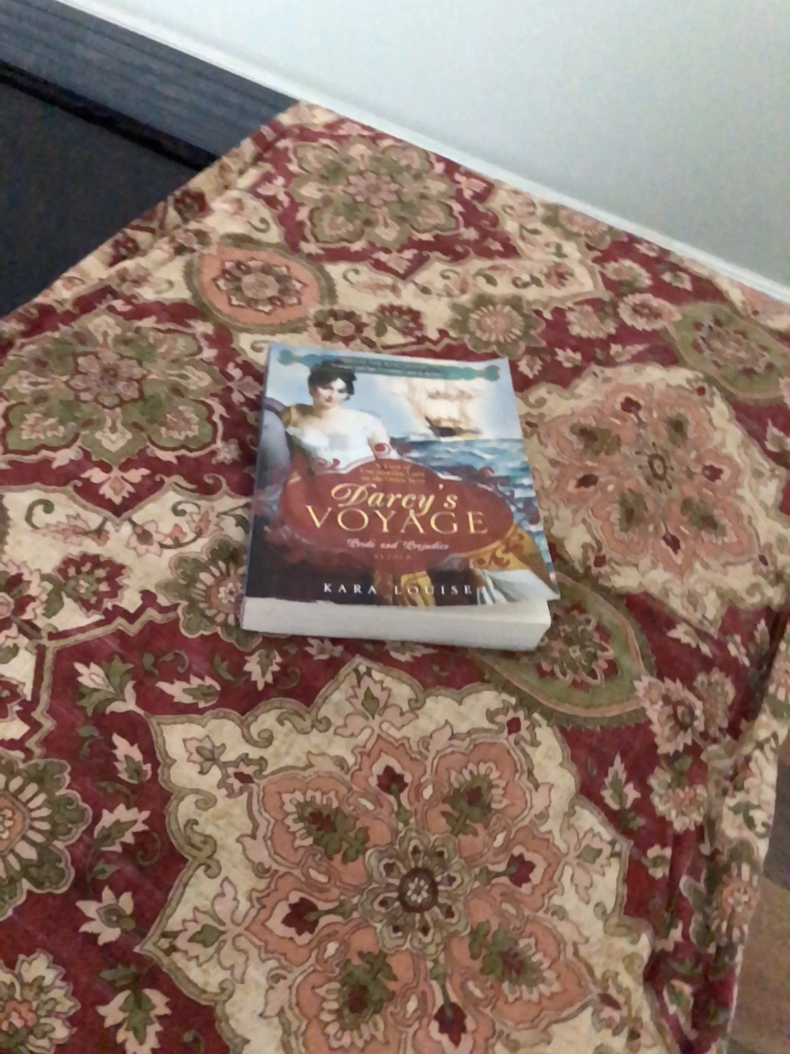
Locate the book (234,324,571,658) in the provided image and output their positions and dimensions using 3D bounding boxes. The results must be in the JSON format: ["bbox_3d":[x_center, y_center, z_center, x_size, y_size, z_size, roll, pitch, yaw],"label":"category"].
[{"bbox_3d":[0.000,-0.028,0.474,0.154,0.034,0.201,5,48,-8],"label":"book"}]
